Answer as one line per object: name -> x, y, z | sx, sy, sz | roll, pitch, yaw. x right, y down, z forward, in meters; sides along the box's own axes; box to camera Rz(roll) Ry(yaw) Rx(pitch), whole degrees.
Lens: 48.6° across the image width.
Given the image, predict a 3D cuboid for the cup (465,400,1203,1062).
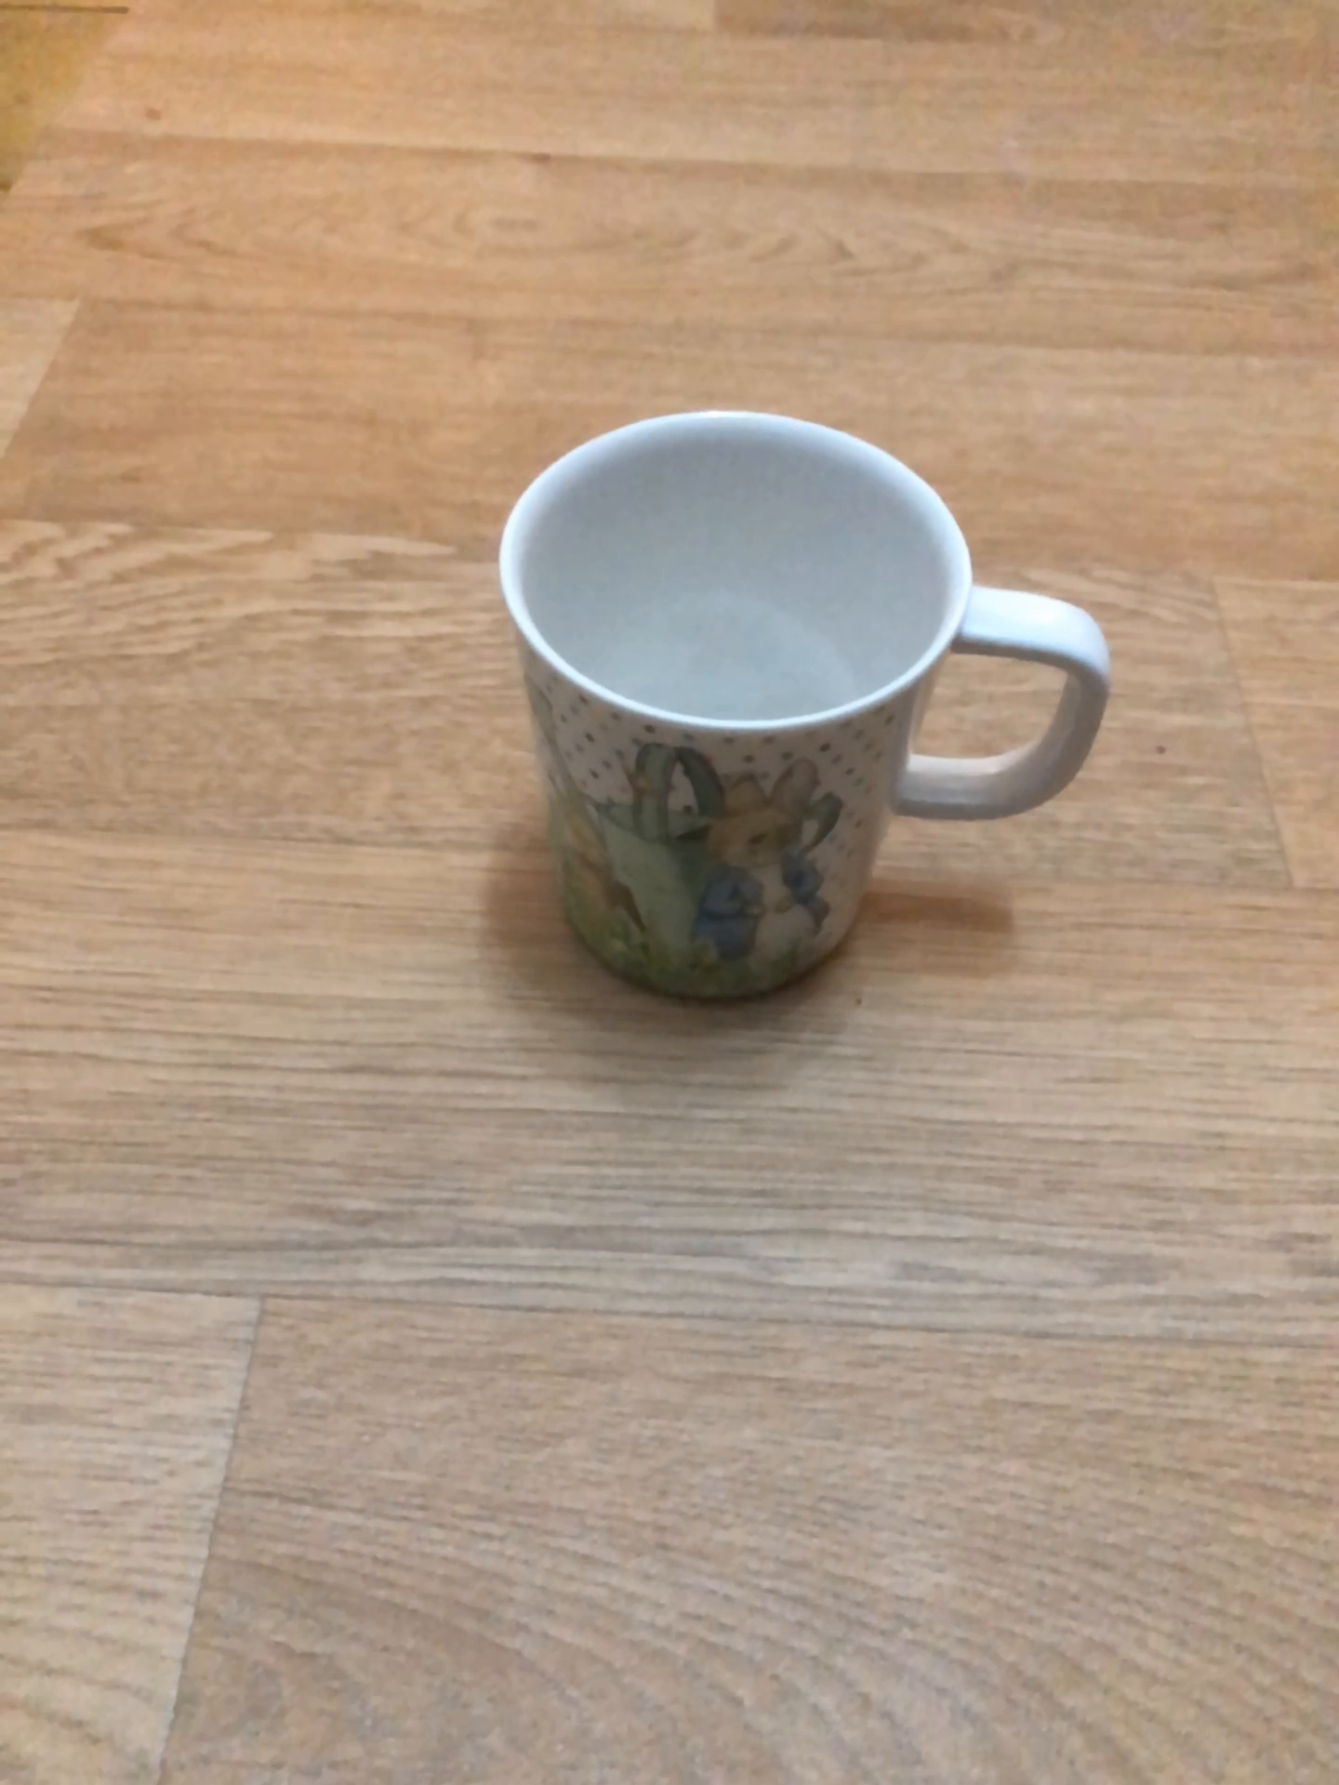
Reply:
cup -> 0.027, -0.029, 0.277 | 0.110, 0.080, 0.080 | 6, 52, 3
